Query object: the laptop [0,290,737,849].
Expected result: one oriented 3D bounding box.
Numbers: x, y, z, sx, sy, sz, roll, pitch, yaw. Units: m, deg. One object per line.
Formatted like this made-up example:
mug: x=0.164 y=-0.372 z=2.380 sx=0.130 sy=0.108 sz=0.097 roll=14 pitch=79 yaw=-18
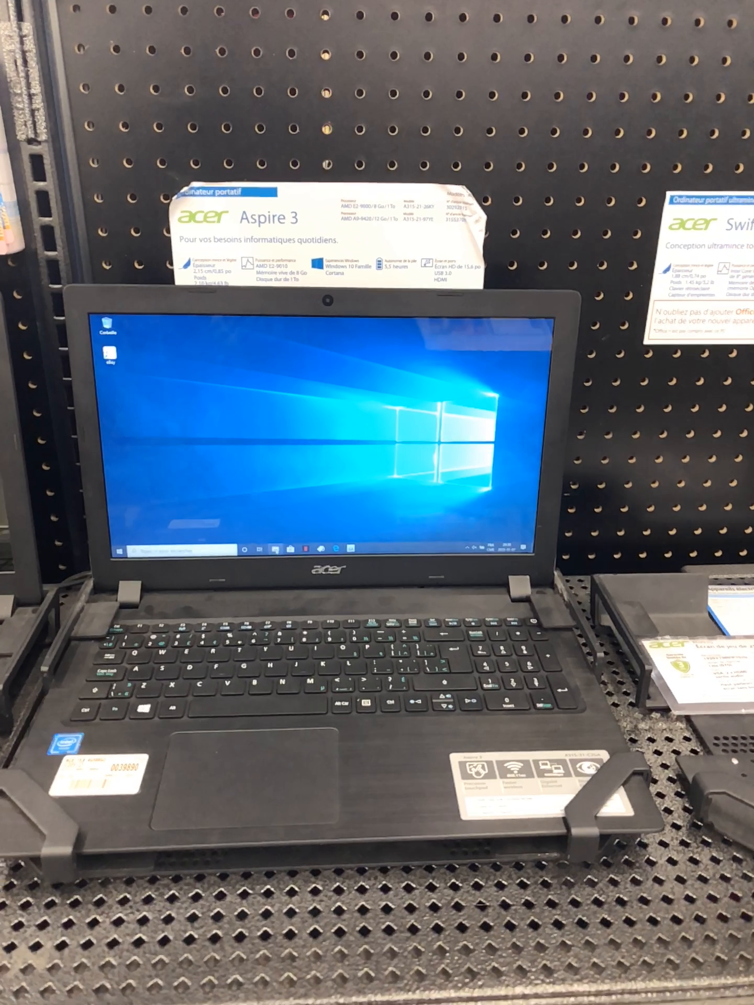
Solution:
laptop: x=-0.036 y=0.014 z=0.553 sx=0.386 sy=0.247 sz=0.296 roll=-1 pitch=25 yaw=-3
